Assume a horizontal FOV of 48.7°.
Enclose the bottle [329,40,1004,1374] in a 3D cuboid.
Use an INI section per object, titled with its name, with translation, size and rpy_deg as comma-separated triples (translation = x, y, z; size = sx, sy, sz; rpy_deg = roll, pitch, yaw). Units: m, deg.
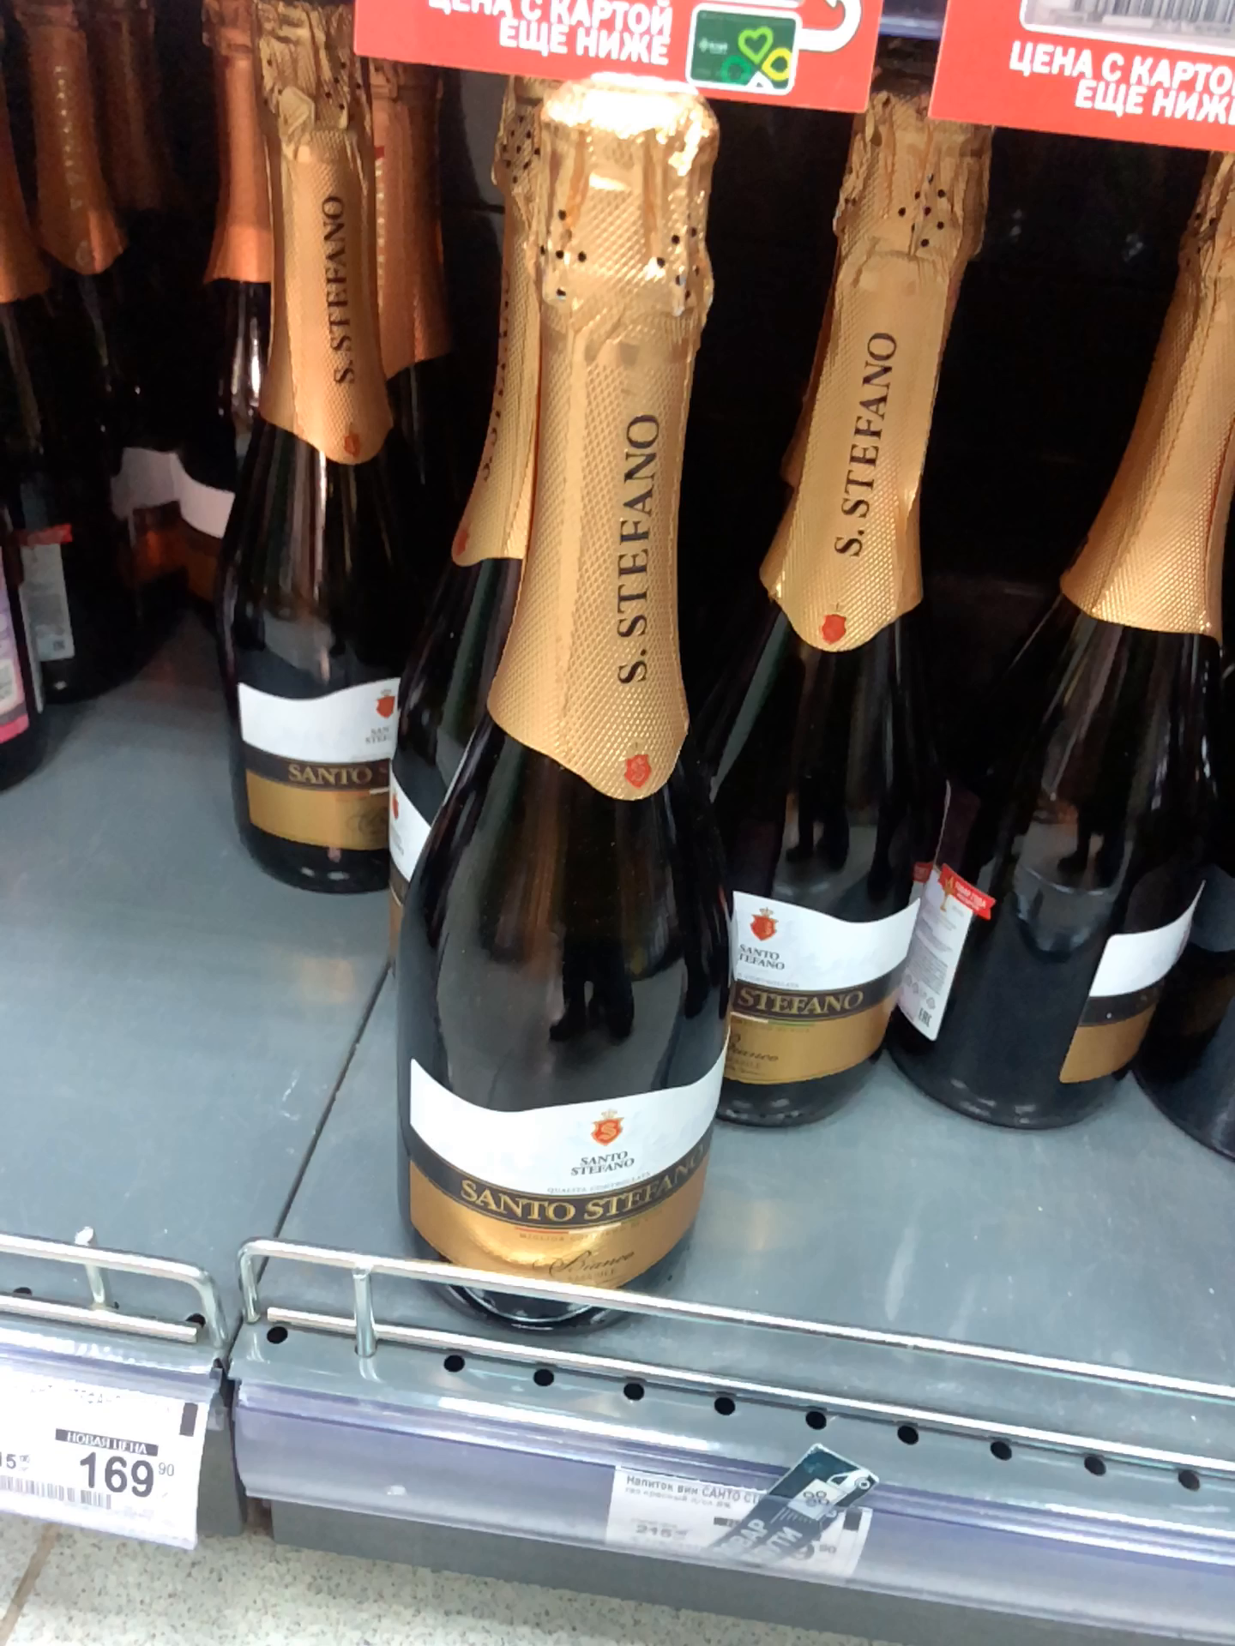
[bottle]
translation = -0.009, -0.010, 0.329
size = 0.100, 0.298, 0.090
rpy_deg = -5, 34, -17
